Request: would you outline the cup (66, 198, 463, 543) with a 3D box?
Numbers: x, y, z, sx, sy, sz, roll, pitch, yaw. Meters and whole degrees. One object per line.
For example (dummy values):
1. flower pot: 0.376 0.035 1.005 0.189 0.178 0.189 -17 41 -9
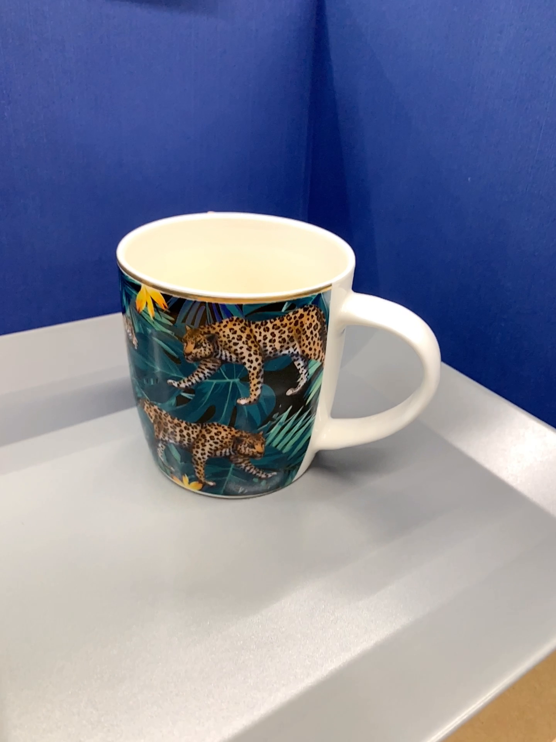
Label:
1. cup: 0.000 -0.009 0.239 0.126 0.091 0.093 9 28 10
